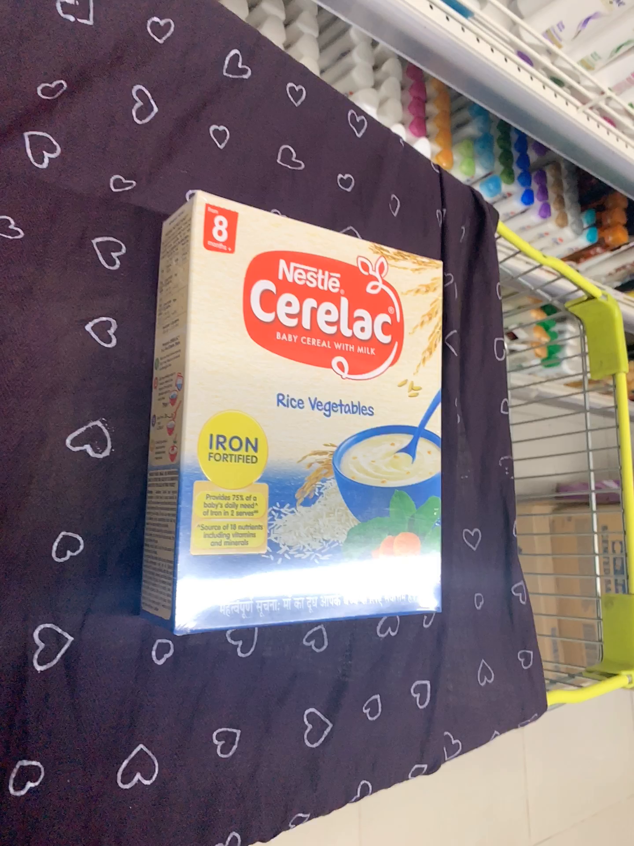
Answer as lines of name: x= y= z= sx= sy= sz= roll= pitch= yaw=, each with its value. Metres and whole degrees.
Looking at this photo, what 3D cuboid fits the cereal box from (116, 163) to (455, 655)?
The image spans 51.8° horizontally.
cereal box: x=-0.008 y=-0.001 z=0.311 sx=0.151 sy=0.050 sz=0.190 roll=6 pitch=80 yaw=-33
